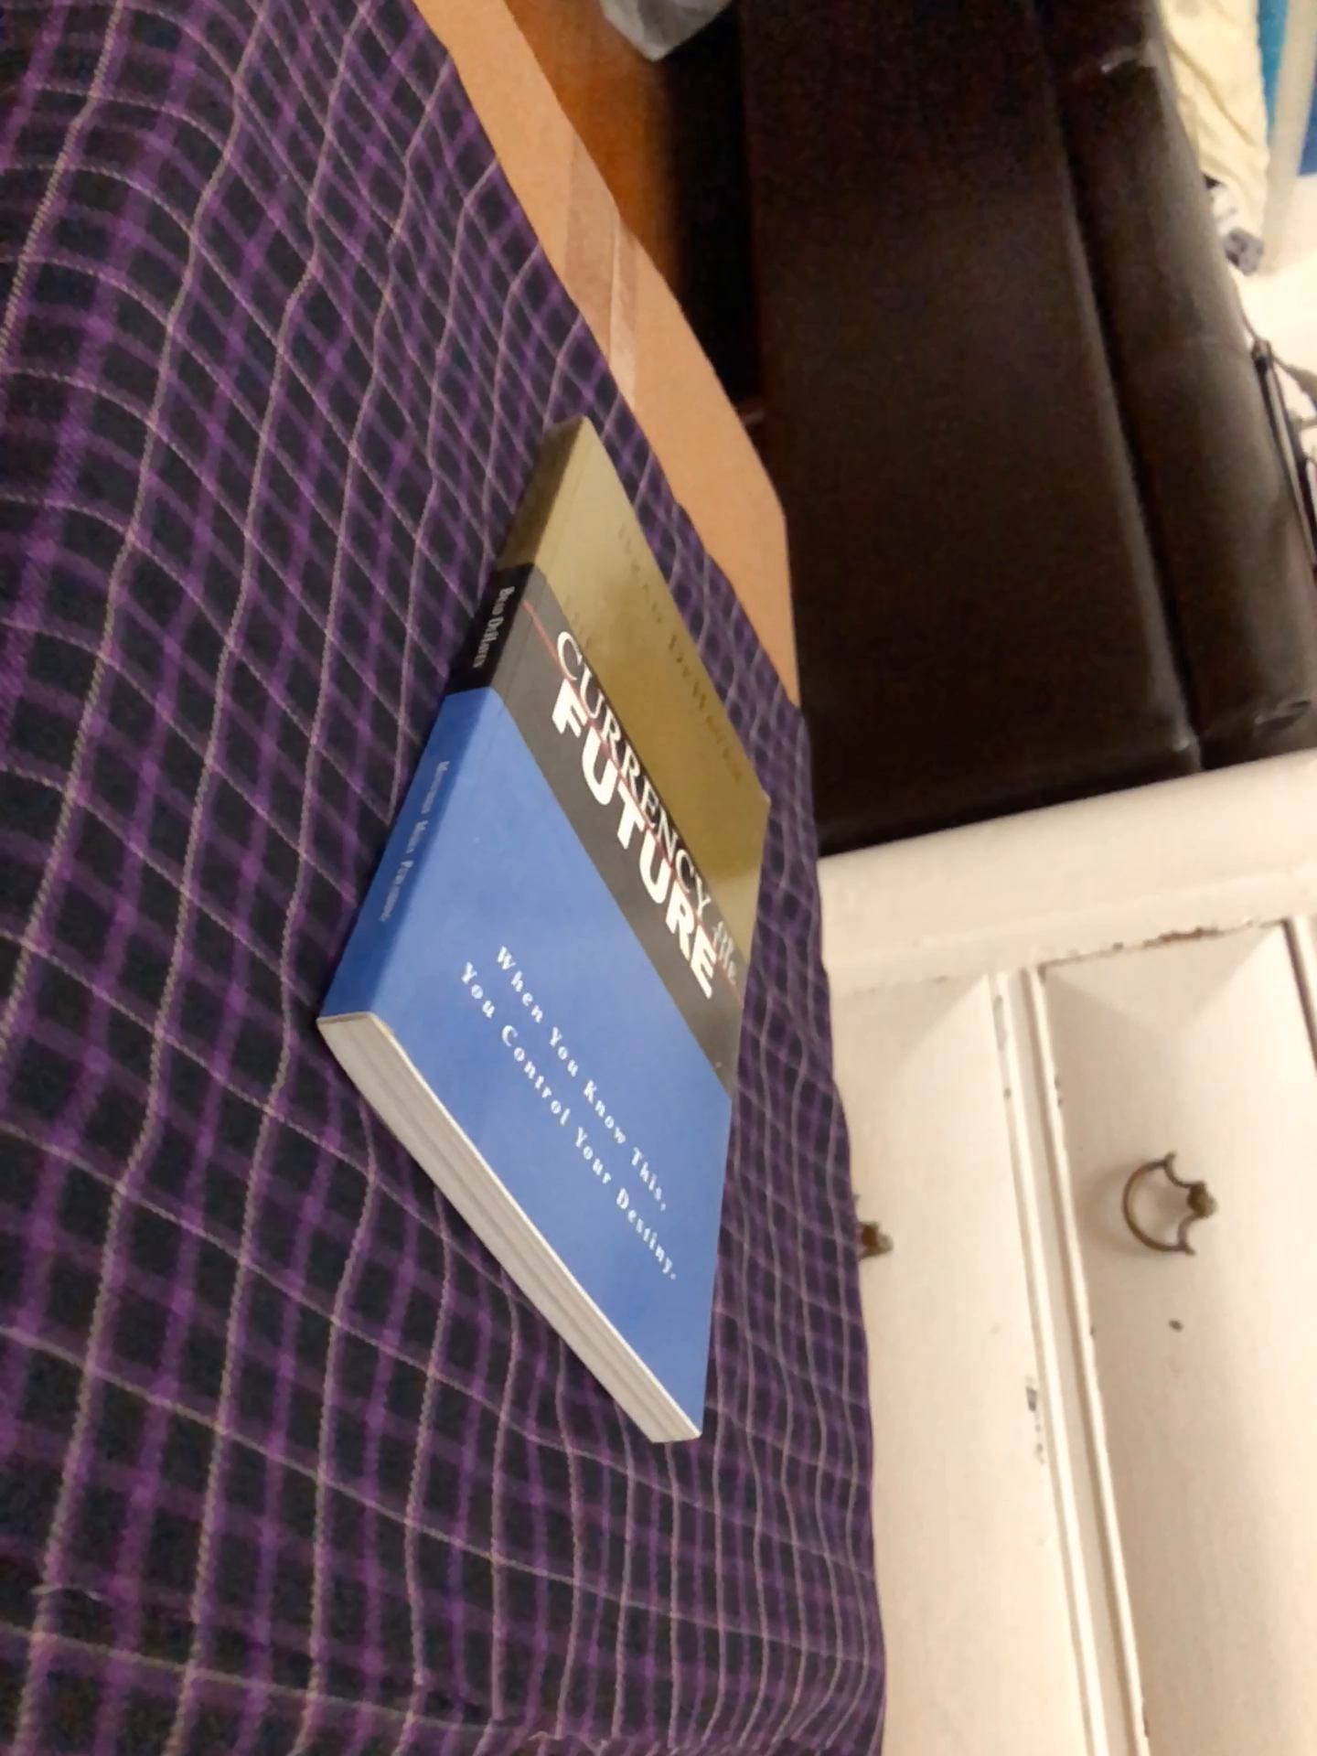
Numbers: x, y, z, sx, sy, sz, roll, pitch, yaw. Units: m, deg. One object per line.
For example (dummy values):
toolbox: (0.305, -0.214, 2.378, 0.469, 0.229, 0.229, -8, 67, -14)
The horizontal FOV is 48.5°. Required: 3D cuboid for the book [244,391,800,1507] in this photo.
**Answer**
book: (-0.009, 0.004, 0.343, 0.221, 0.020, 0.150, -79, 148, -47)
